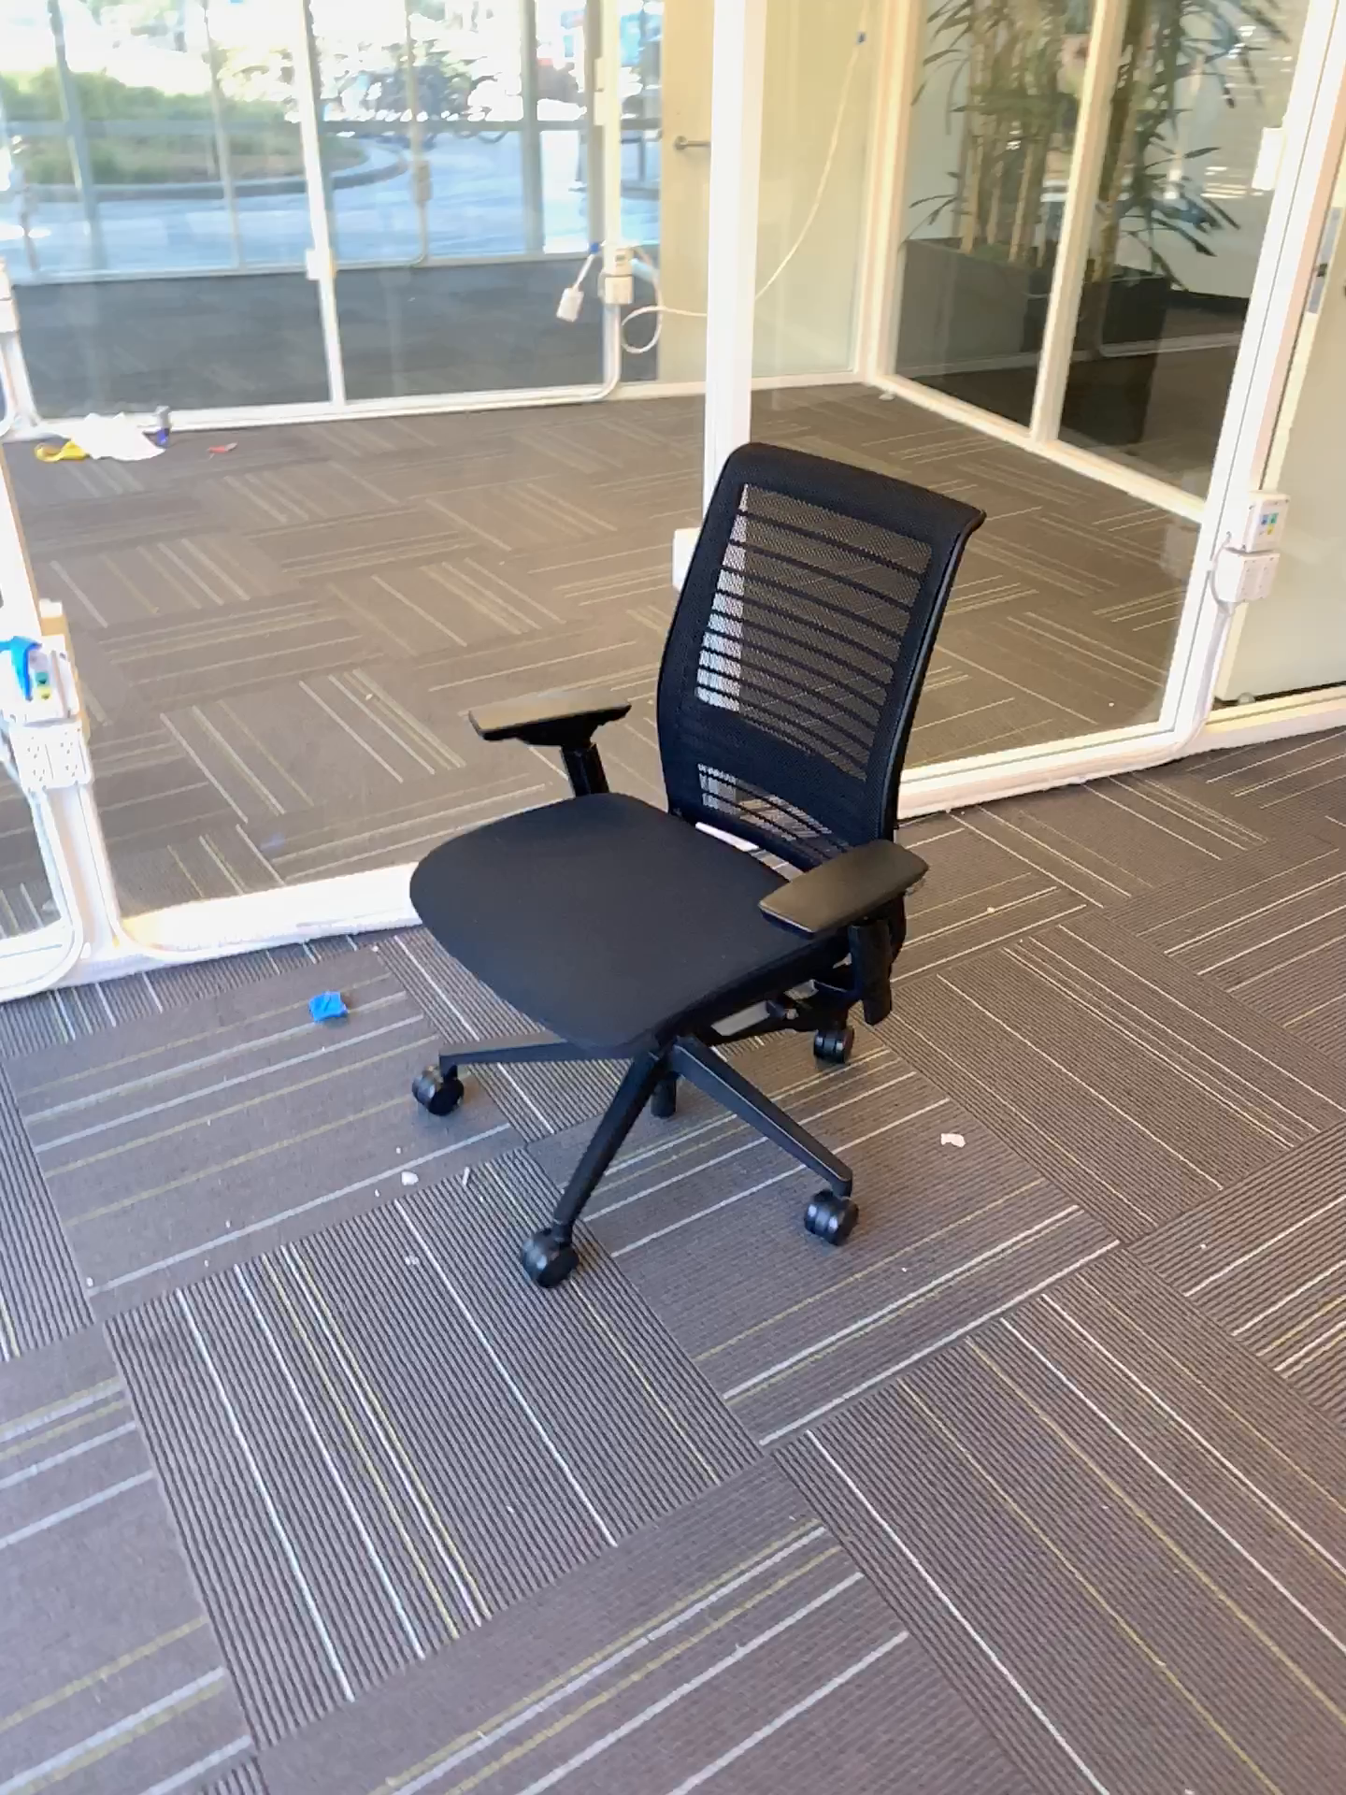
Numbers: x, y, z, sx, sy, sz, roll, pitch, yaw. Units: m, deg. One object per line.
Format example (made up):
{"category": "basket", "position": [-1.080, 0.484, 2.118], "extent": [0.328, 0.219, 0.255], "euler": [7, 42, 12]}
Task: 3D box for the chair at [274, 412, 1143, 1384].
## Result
{"category": "chair", "position": [0.015, -0.063, 1.791], "extent": [0.711, 0.875, 0.694], "euler": [-21, 39, -31]}
